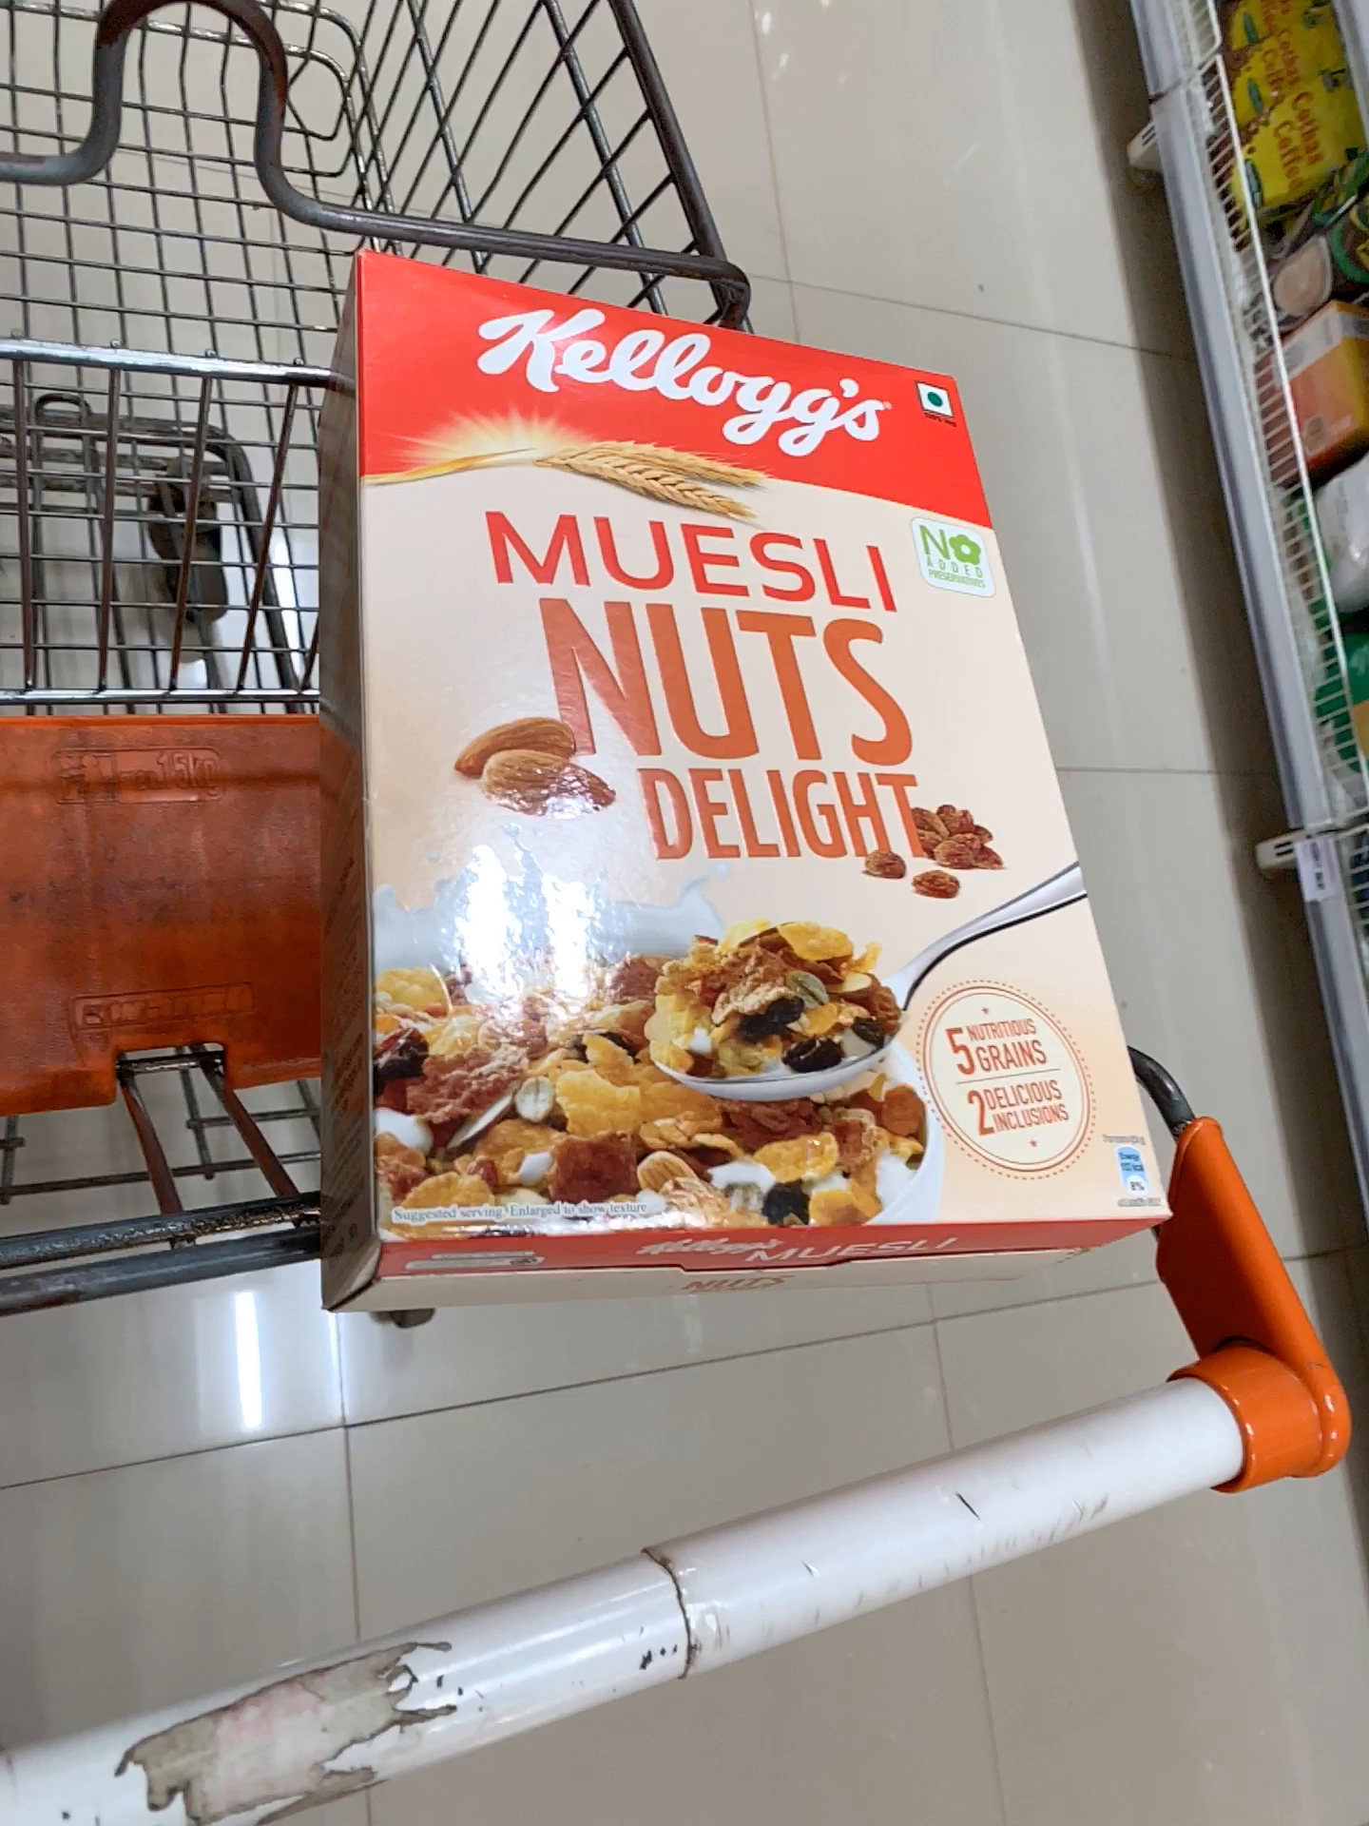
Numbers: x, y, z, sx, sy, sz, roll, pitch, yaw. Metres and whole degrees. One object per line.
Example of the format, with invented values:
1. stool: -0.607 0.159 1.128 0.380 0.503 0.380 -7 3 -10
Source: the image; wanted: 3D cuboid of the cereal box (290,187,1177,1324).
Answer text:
1. cereal box: -0.001 -0.041 0.379 0.190 0.080 0.271 3 66 -24
